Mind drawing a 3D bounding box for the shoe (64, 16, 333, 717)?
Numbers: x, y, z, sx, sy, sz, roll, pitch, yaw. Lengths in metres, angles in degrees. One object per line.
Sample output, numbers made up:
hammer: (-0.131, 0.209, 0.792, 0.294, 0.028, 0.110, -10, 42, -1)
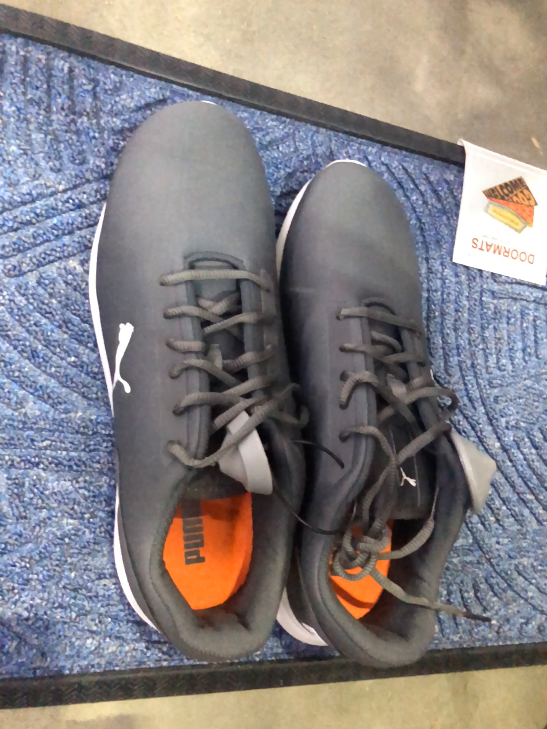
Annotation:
shoe: (-0.044, 0.001, 0.325, 0.110, 0.100, 0.300, 3, 87, -21)

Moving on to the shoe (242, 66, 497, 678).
shoe: (0.053, 0.004, 0.360, 0.100, 0.100, 0.300, 4, 86, -21)
